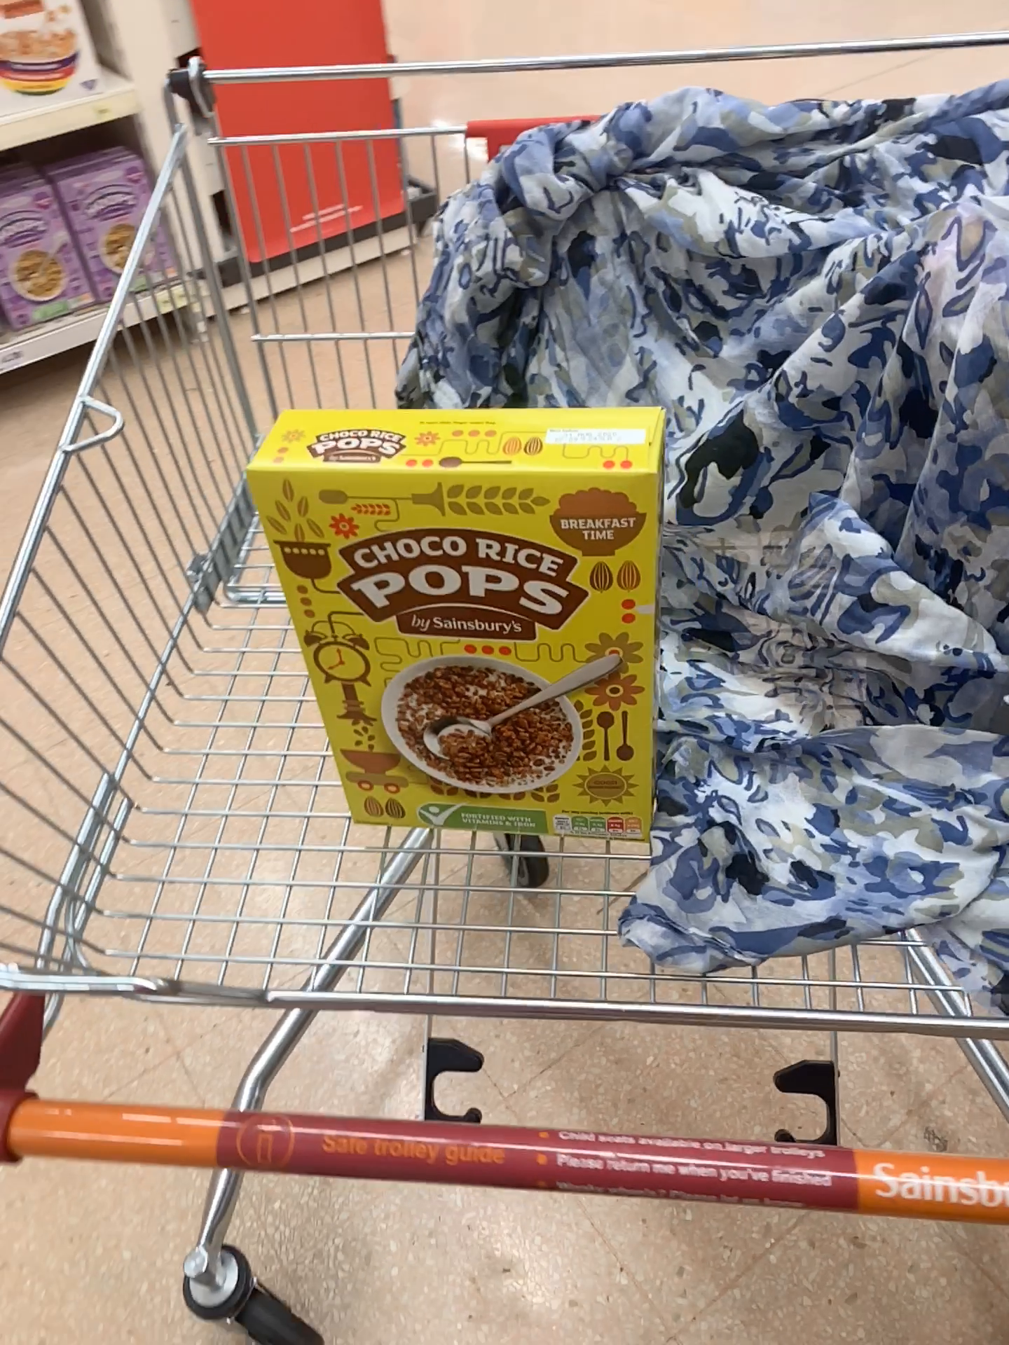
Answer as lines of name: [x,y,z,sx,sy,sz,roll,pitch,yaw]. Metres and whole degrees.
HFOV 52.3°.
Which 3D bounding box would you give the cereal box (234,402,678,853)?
cereal box: [-0.013,-0.013,0.569,0.200,0.268,0.061,2,43,7]
